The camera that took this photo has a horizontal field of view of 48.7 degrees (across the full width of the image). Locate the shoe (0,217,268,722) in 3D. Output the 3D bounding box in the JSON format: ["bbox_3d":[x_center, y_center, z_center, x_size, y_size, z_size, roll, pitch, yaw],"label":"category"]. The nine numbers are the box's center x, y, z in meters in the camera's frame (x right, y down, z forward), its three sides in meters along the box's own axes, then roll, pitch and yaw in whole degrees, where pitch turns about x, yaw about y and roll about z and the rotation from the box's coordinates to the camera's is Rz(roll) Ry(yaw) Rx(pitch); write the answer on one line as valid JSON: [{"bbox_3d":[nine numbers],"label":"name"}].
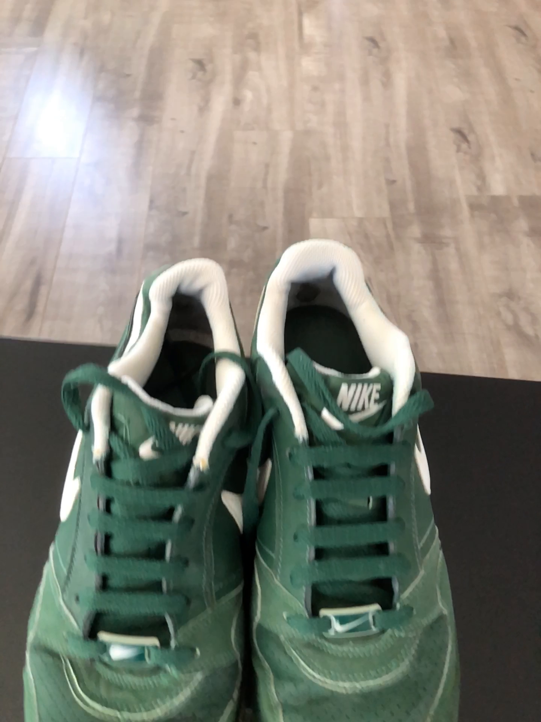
[{"bbox_3d":[-0.063,0.079,0.291,0.100,0.100,0.292,4,62,2],"label":"shoe"}]

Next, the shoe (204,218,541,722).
[{"bbox_3d":[0.041,0.076,0.285,0.110,0.100,0.280,2,62,1],"label":"shoe"}]
